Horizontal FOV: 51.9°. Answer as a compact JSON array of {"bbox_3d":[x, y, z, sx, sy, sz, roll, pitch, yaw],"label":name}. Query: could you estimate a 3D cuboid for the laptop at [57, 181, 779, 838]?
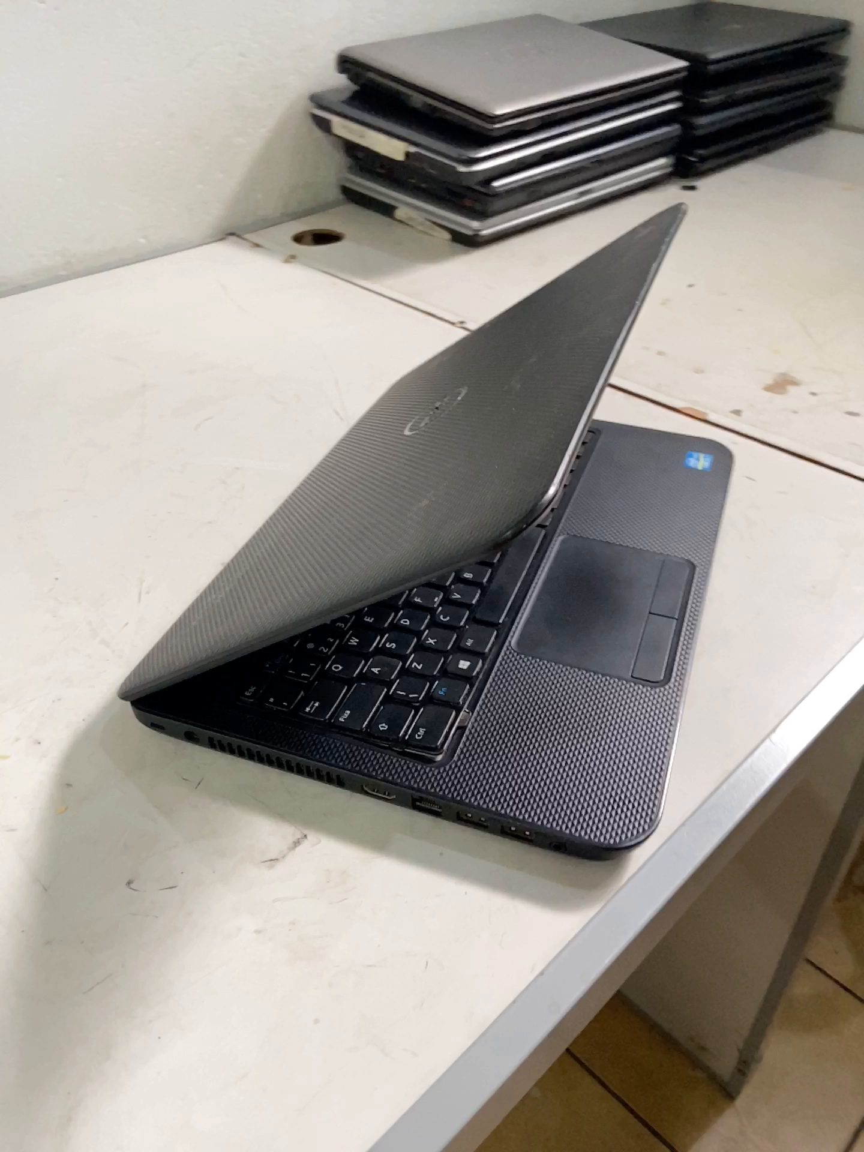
[{"bbox_3d":[0.030,-0.075,0.455,0.230,0.141,0.332,13,40,17],"label":"laptop"}]
